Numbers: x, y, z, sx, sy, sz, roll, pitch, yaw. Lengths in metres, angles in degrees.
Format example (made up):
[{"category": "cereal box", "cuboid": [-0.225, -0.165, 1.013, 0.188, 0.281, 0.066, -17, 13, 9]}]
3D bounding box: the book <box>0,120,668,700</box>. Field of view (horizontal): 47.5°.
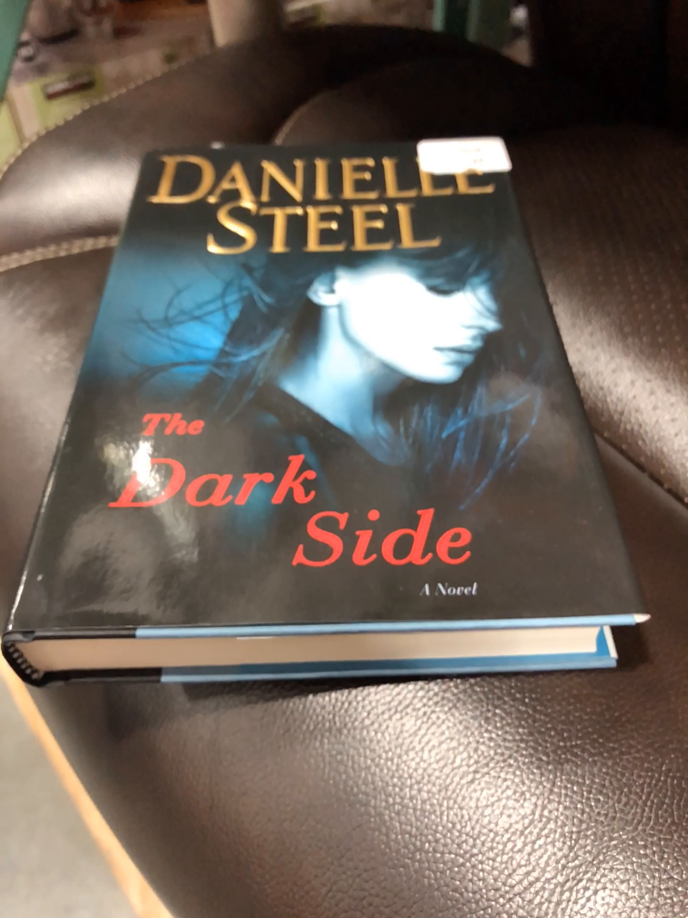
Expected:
[{"category": "book", "cuboid": [-0.010, -0.040, 0.276, 0.168, 0.040, 0.238, -2, 50, 0]}]
